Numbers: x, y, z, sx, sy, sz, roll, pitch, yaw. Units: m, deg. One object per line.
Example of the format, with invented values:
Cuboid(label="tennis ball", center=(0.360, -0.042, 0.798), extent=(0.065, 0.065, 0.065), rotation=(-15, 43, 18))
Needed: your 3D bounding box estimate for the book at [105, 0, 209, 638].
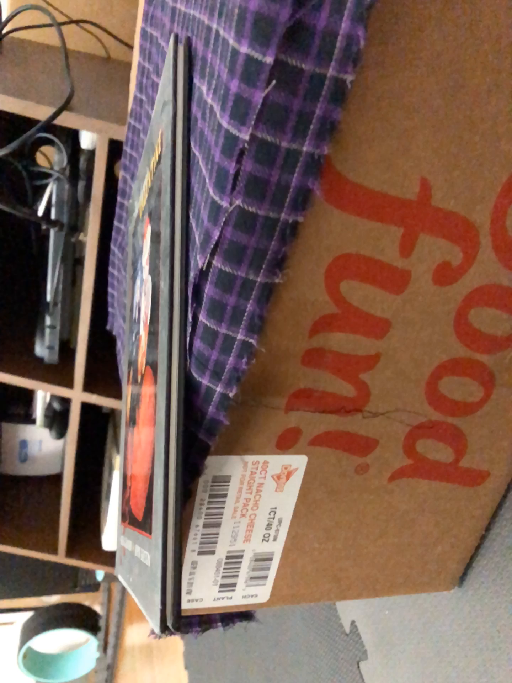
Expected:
Cuboid(label="book", center=(-0.058, -0.010, 0.316), extent=(0.181, 0.020, 0.280), rotation=(141, 131, -65))
